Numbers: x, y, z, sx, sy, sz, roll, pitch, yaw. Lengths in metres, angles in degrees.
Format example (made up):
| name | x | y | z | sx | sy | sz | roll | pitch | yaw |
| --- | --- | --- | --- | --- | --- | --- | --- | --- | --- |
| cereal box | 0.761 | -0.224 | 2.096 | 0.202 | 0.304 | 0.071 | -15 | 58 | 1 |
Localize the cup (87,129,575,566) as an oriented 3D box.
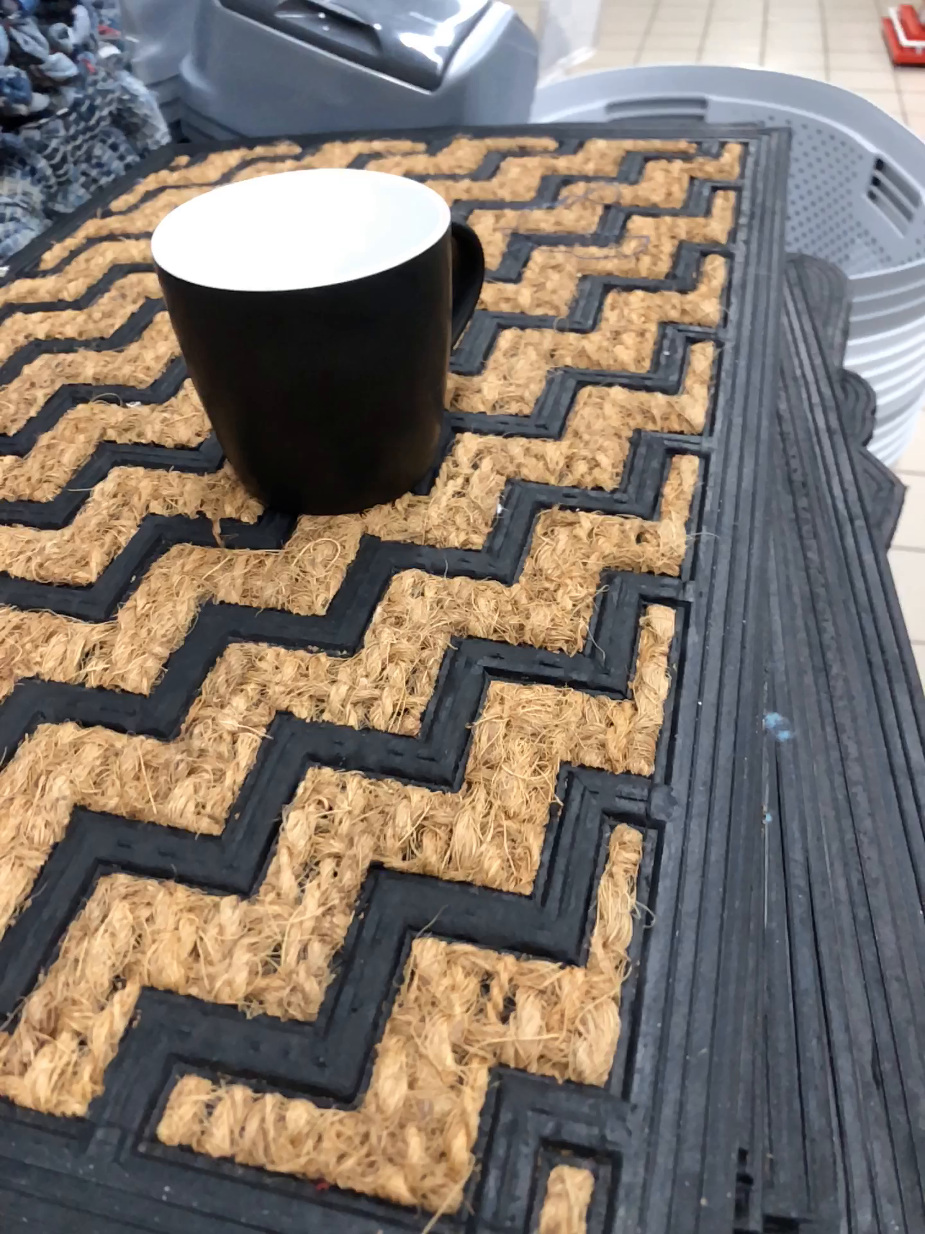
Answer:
| name | x | y | z | sx | sy | sz | roll | pitch | yaw |
| --- | --- | --- | --- | --- | --- | --- | --- | --- | --- |
| cup | -0.038 | -0.097 | 0.345 | 0.123 | 0.081 | 0.090 | -35 | 51 | -30 |
